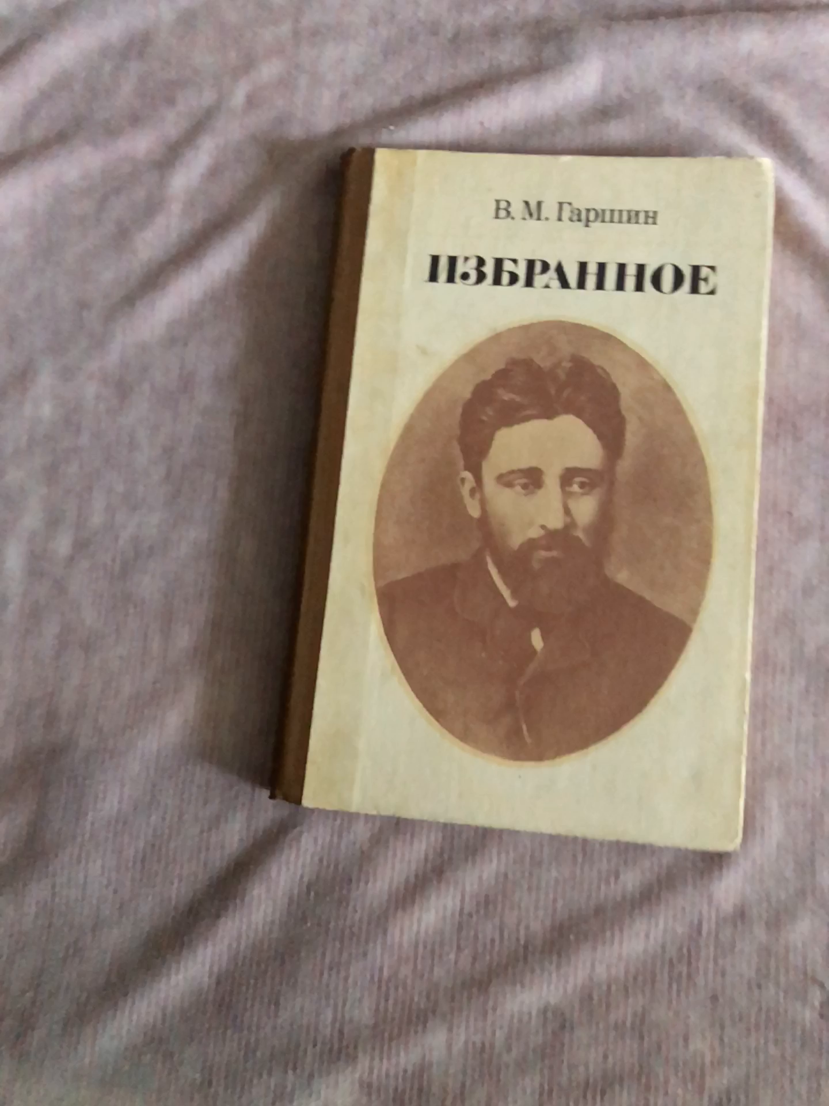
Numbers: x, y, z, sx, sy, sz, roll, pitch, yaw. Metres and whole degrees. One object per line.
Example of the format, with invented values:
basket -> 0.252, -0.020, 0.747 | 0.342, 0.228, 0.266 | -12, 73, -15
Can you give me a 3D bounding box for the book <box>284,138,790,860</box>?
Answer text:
book -> 0.041, -0.024, 0.303 | 0.142, 0.030, 0.220 | 4, 83, 7
